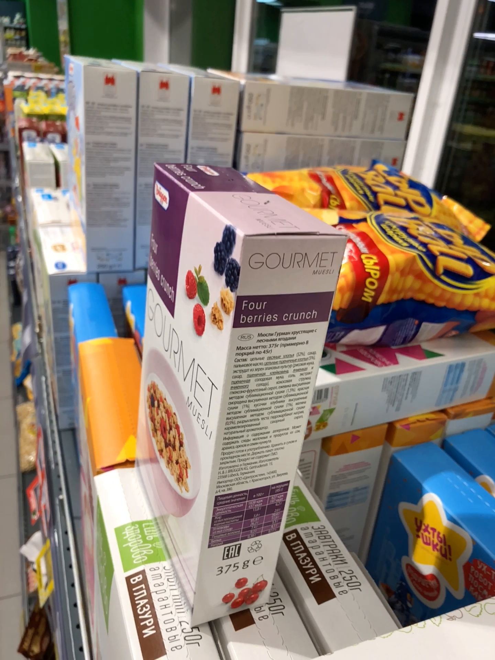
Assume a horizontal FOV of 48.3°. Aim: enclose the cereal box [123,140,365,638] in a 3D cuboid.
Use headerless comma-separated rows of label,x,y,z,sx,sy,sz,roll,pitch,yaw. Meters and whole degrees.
cereal box,-0.022,0.025,0.300,0.050,0.219,0.141,-3,27,-25
